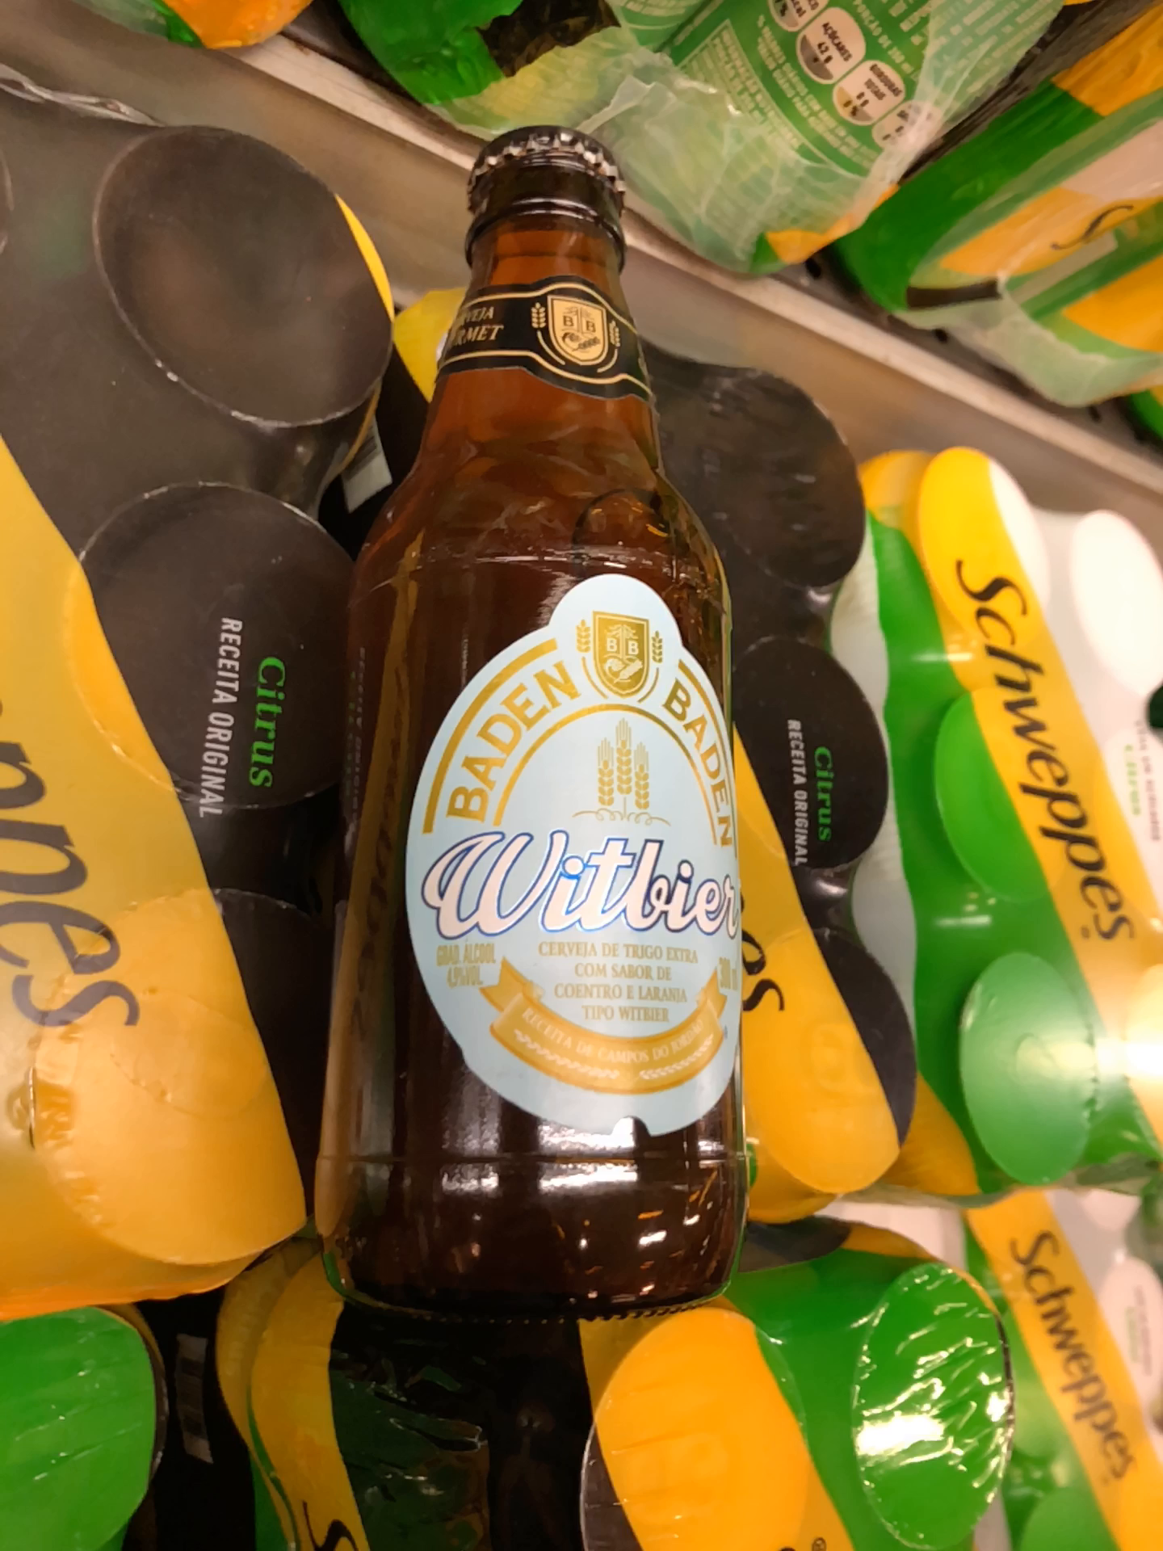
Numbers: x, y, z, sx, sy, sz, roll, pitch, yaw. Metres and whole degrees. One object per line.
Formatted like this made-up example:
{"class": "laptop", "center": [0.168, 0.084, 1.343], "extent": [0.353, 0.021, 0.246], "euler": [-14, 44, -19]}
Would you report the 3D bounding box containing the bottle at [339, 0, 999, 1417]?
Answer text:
{"class": "bottle", "center": [0.016, -0.020, 0.204], "extent": [0.070, 0.060, 0.200], "euler": [12, 74, -36]}
